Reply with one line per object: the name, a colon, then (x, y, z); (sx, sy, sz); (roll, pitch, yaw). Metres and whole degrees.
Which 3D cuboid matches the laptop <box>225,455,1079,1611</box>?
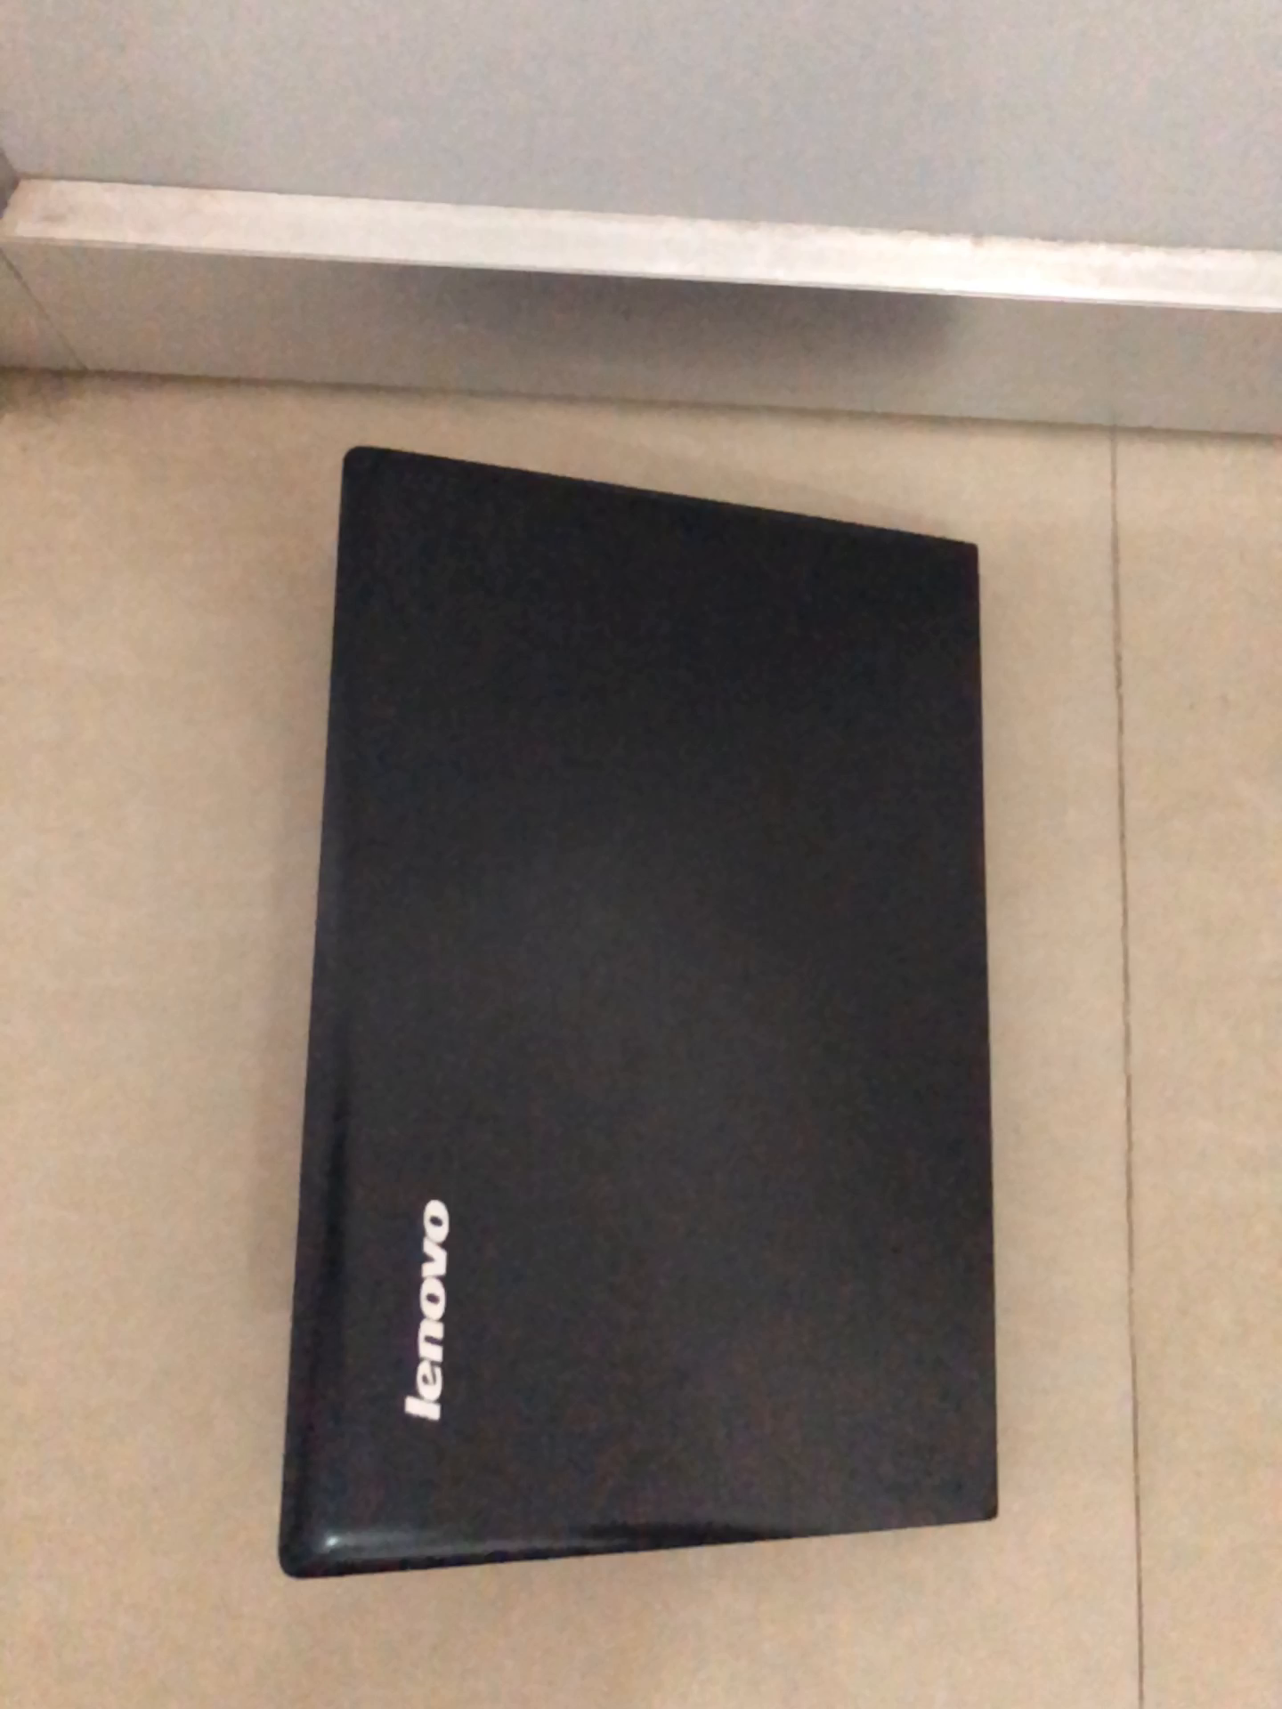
laptop: (0.007, 0.051, 0.507); (0.257, 0.098, 0.367); (1, 80, -2)
